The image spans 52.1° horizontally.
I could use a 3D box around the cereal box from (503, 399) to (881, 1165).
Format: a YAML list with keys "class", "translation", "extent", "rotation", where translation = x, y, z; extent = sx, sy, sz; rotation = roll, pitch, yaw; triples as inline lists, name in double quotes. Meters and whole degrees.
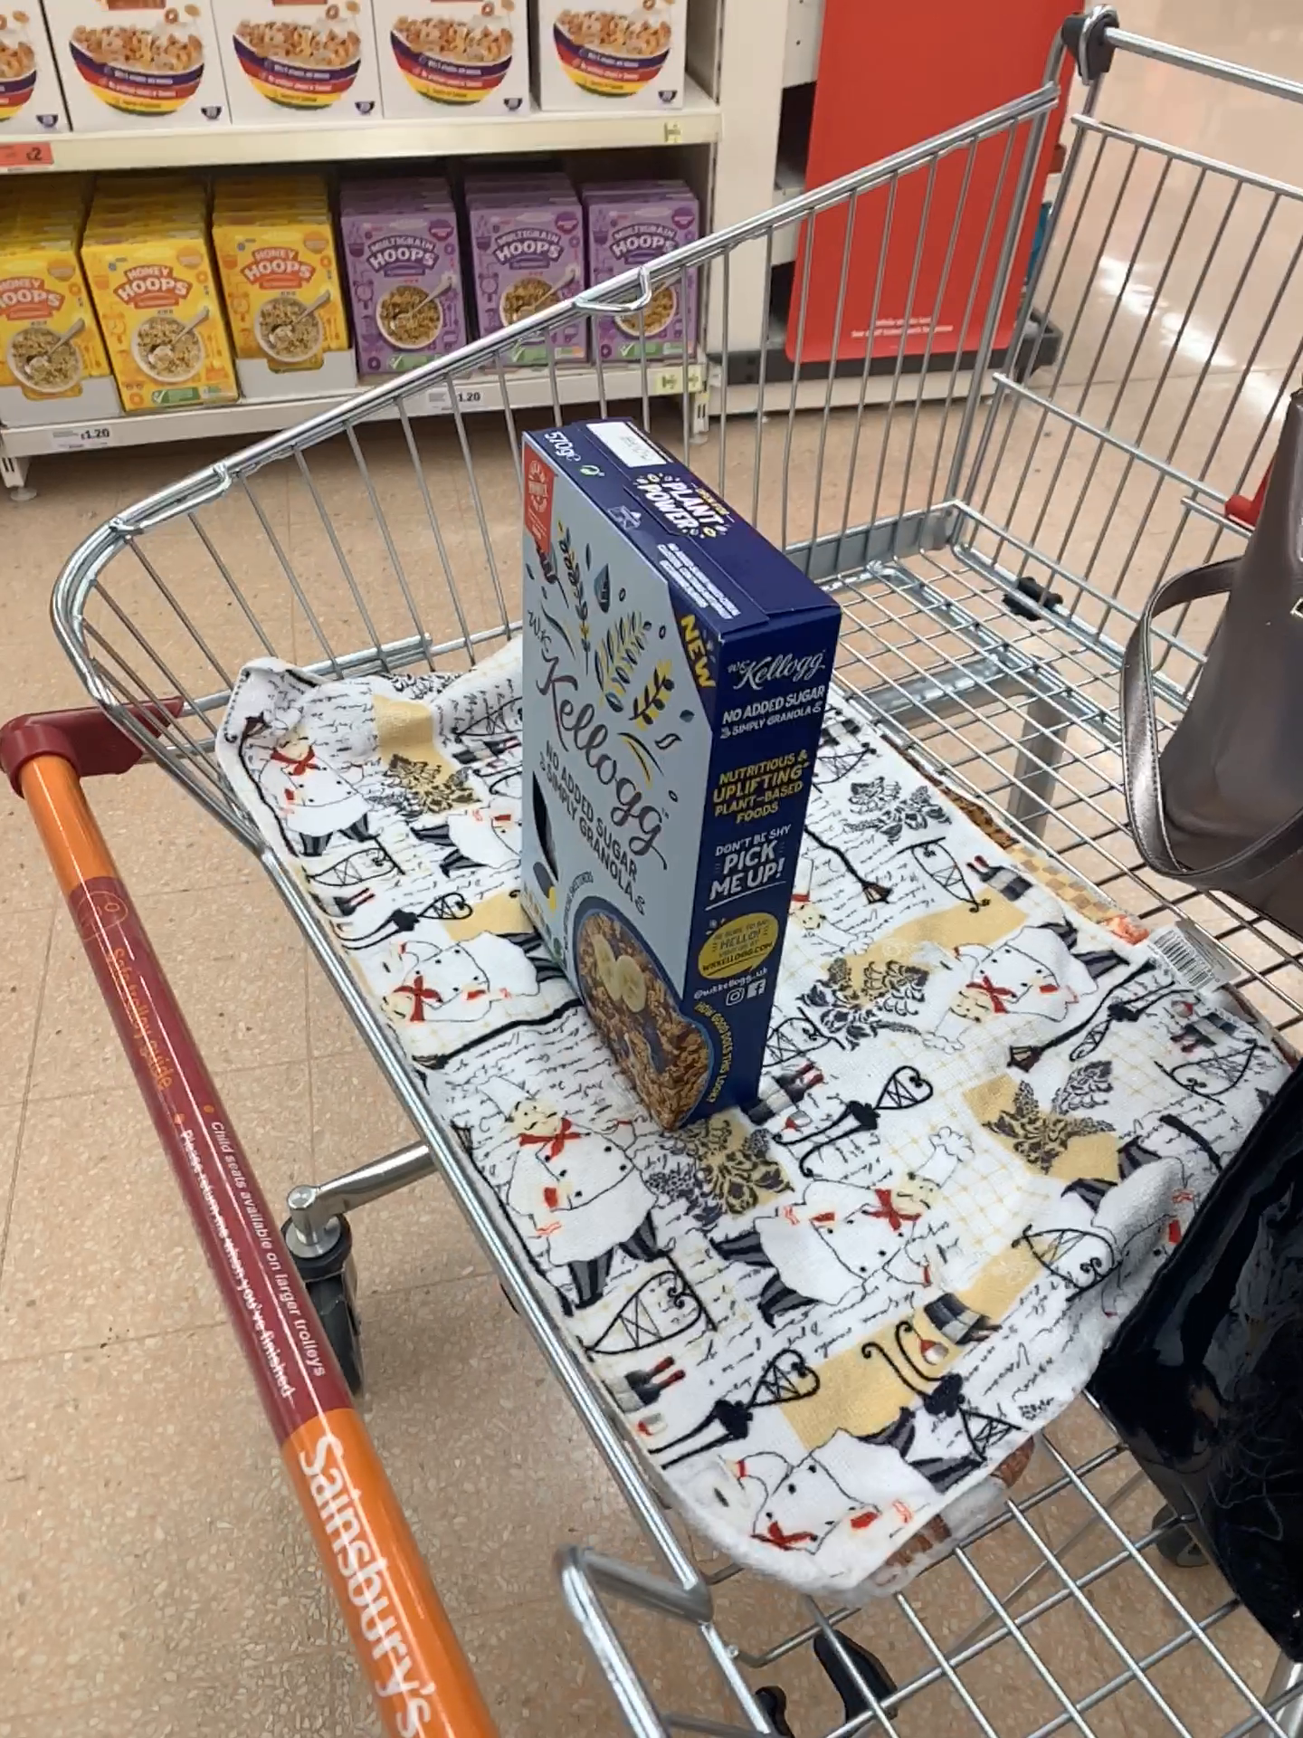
- class: "cereal box"
  translation: [-0.002, -0.031, 0.534]
  extent: [0.050, 0.248, 0.171]
  rotation: [-14, 45, -23]
